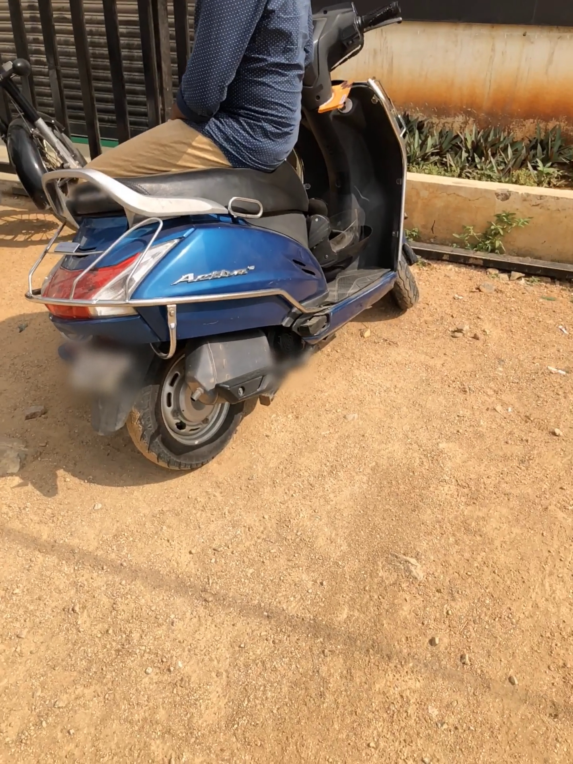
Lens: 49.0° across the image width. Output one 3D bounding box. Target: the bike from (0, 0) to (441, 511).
[{"bbox_3d":[-0.116,-0.625,2.019,0.622,1.115,1.558,17,36,25],"label":"bike"}]
